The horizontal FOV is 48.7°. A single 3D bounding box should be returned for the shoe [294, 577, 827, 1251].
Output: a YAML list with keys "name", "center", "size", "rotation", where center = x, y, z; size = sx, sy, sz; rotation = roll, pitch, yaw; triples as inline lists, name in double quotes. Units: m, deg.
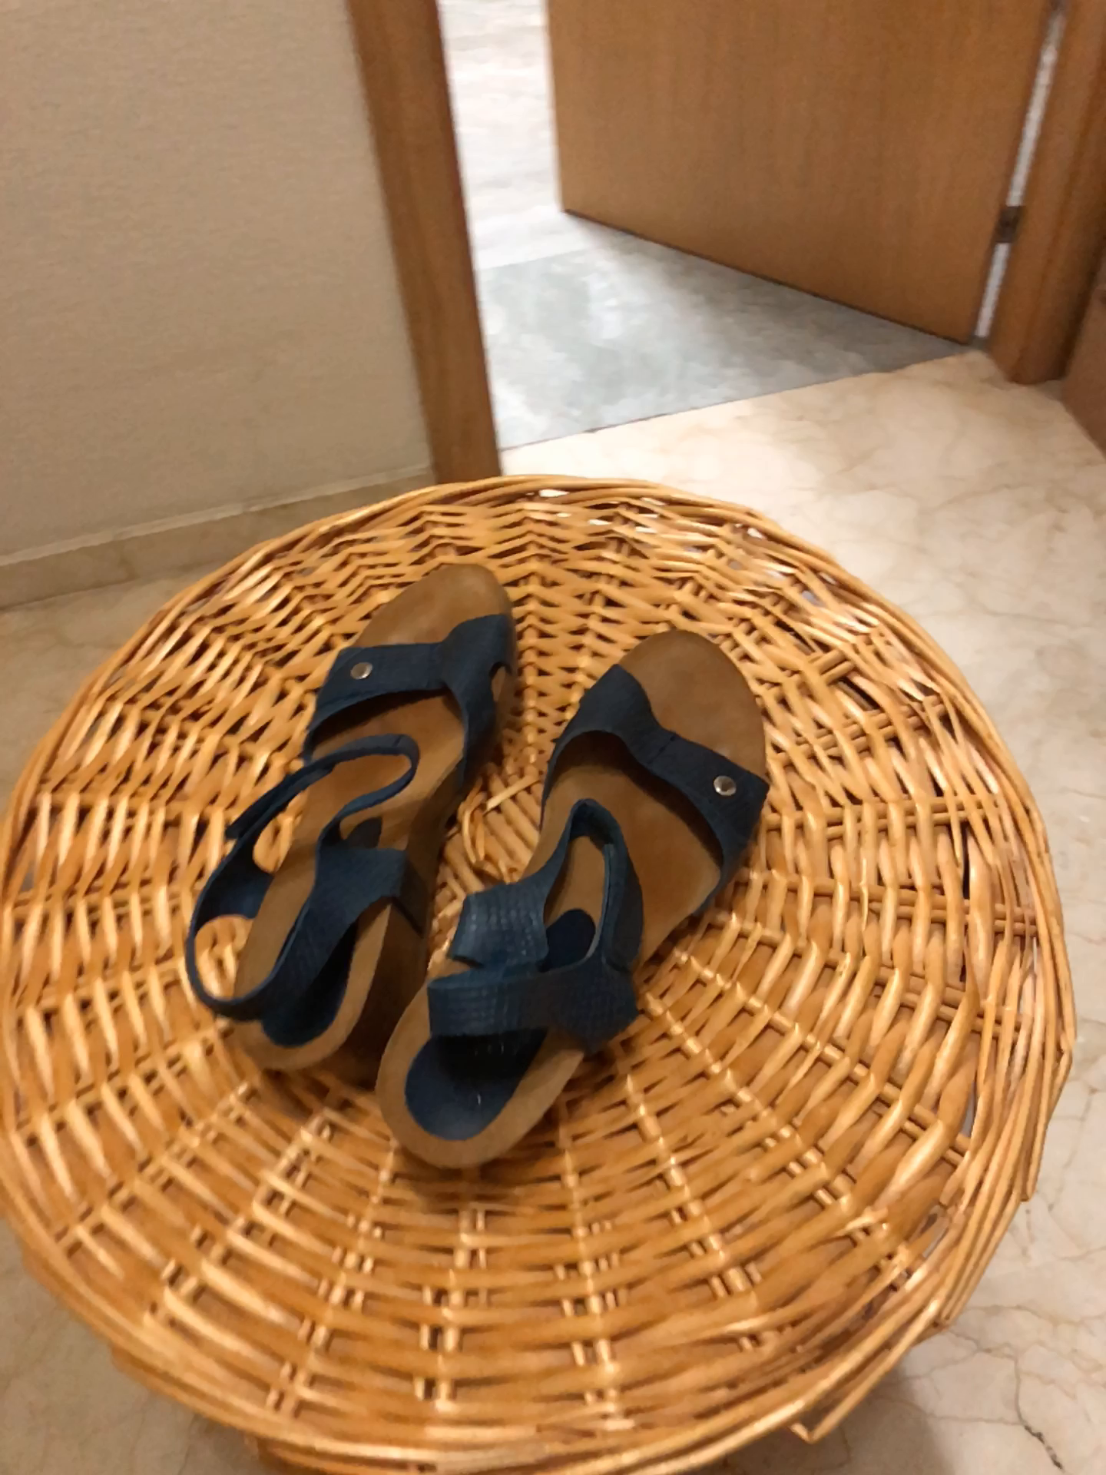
- name: "shoe"
  center: [0.019, 0.056, 0.516]
  size: [0.090, 0.060, 0.281]
  rotation: [19, 57, 26]

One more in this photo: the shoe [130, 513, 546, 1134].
- name: "shoe"
  center: [-0.079, 0.020, 0.538]
  size: [0.090, 0.060, 0.281]
  rotation: [2, 53, 15]
